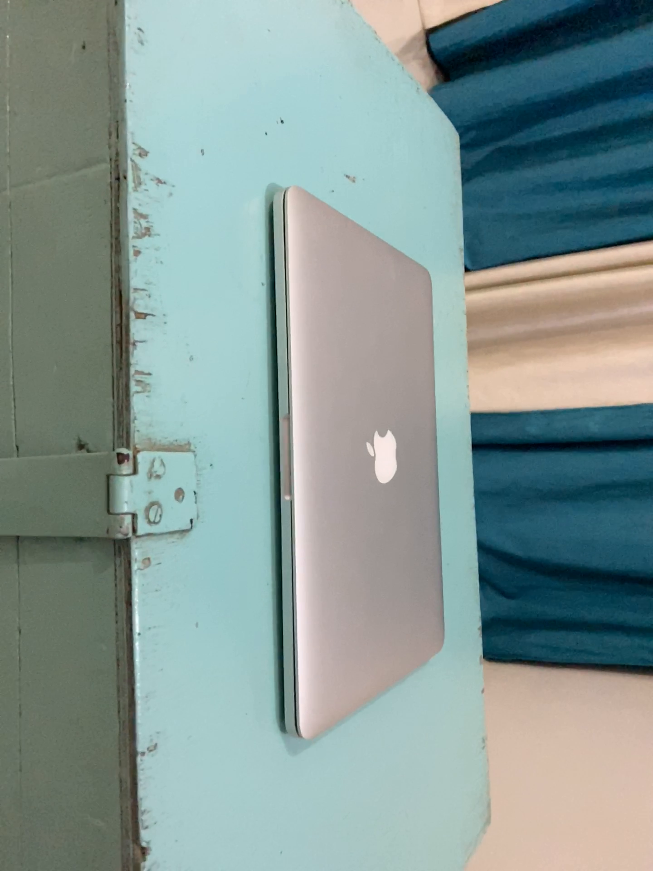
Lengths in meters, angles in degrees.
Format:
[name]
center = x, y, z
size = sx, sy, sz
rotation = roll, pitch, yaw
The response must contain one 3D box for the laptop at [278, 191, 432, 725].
[laptop]
center = 0.030, 0.014, 0.458
size = 0.210, 0.007, 0.291
rotation = 1, 88, -62
